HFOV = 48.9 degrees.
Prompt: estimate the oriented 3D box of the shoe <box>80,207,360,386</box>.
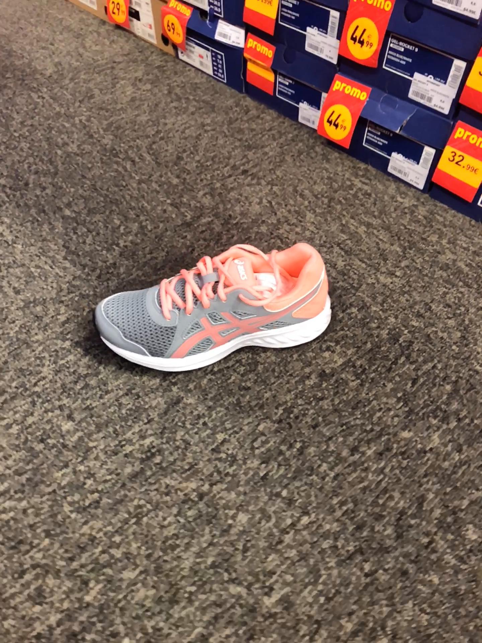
[{"bbox_3d":[-0.025,-0.028,0.545,0.250,0.109,0.111,-7,50,-8],"label":"shoe"}]
